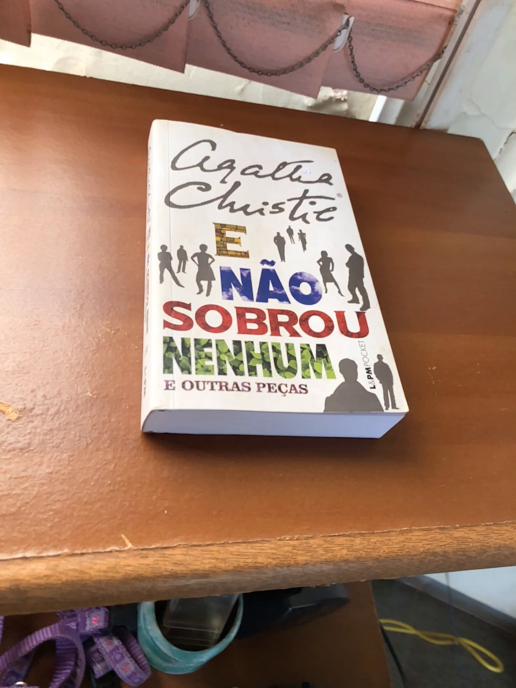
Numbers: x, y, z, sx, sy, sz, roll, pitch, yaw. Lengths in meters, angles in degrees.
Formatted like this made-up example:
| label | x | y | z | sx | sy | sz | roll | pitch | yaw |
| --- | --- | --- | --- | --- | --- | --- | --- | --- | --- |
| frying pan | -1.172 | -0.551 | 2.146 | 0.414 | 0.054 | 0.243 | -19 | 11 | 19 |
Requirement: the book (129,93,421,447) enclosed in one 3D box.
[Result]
| label | x | y | z | sx | sy | sz | roll | pitch | yaw |
| --- | --- | --- | --- | --- | --- | --- | --- | --- | --- |
| book | 0.000 | -0.044 | 0.271 | 0.110 | 0.024 | 0.186 | 4 | 56 | -14 |
